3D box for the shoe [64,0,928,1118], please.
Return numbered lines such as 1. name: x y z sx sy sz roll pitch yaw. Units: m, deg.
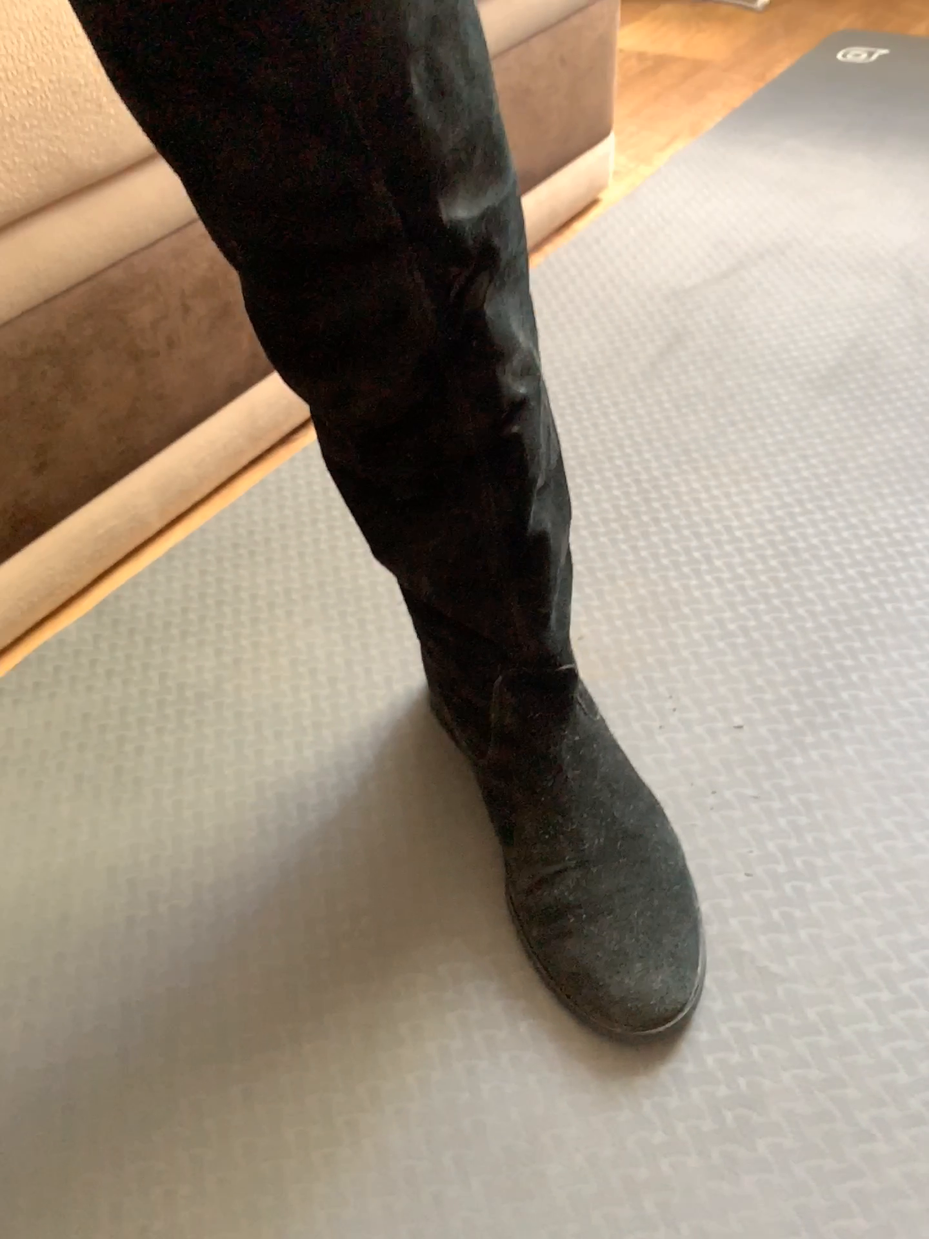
1. shoe: 0.002 -0.058 0.375 0.130 0.378 0.322 -21 44 -10
